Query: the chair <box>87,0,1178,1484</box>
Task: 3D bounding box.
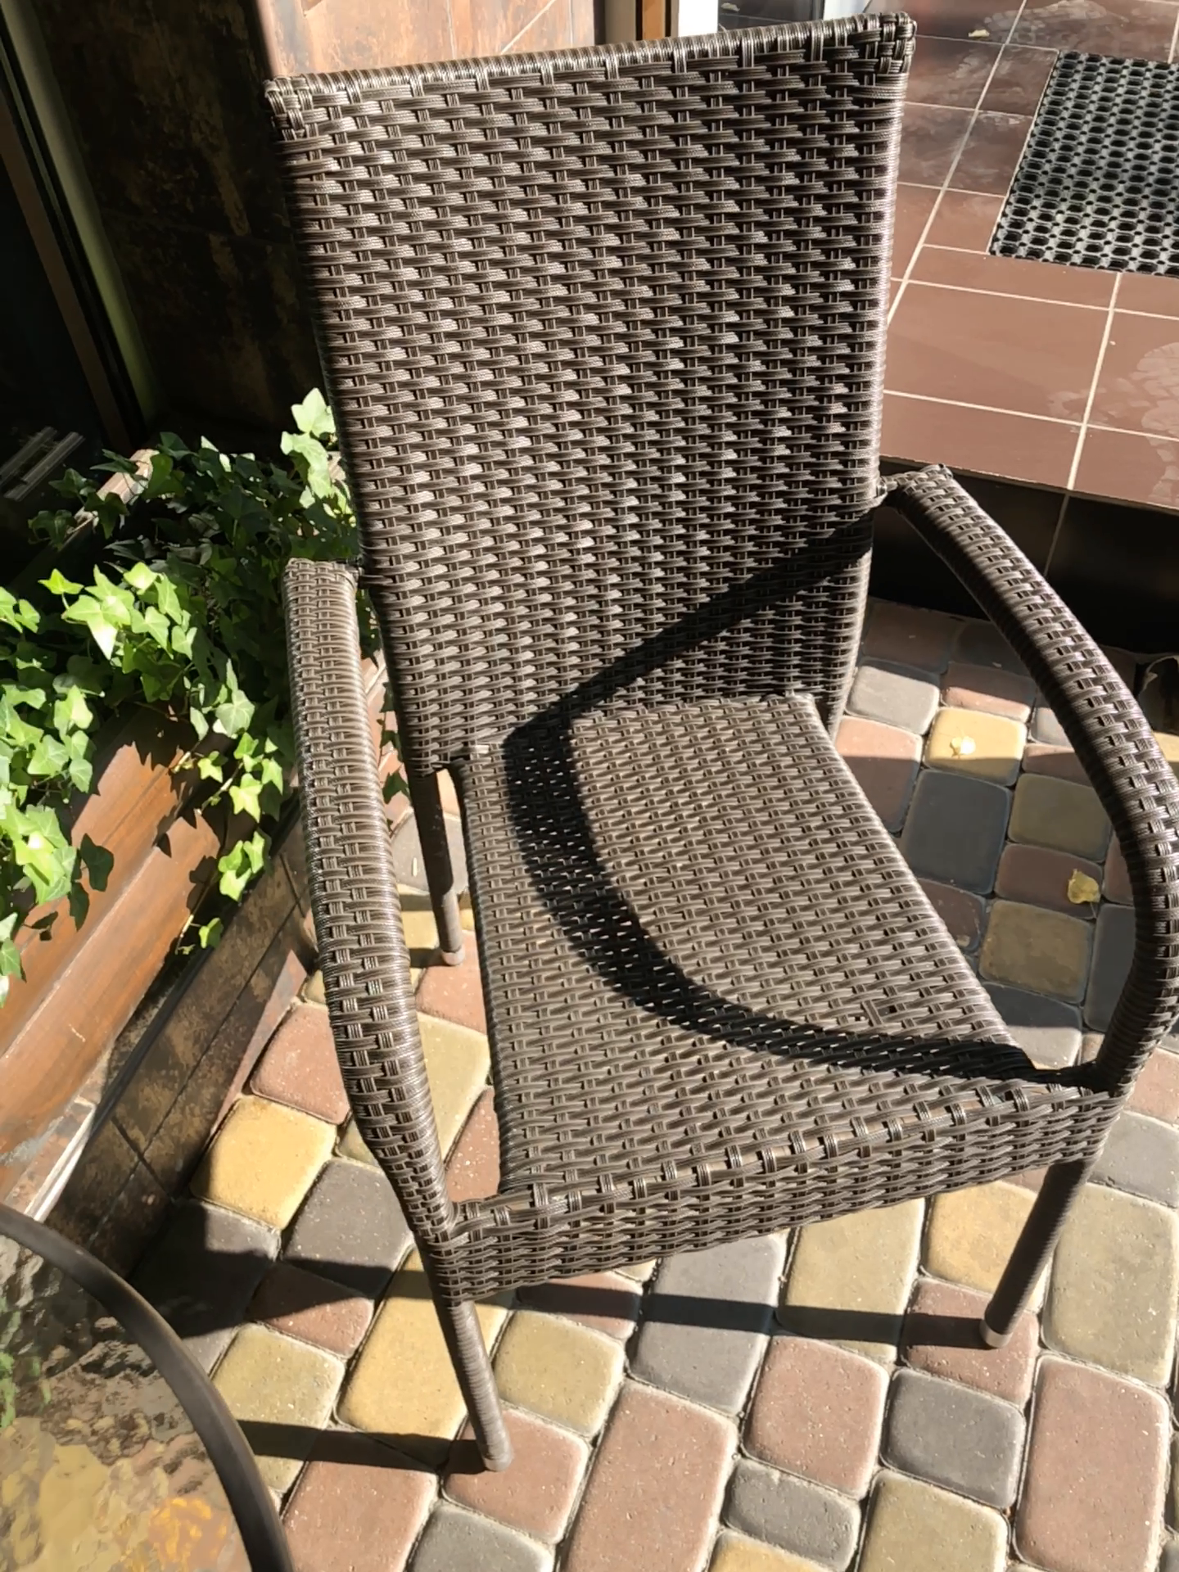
[{"bbox_3d":[0.057,0.024,0.928,0.520,0.847,0.582,-10,50,-6],"label":"chair"}]
